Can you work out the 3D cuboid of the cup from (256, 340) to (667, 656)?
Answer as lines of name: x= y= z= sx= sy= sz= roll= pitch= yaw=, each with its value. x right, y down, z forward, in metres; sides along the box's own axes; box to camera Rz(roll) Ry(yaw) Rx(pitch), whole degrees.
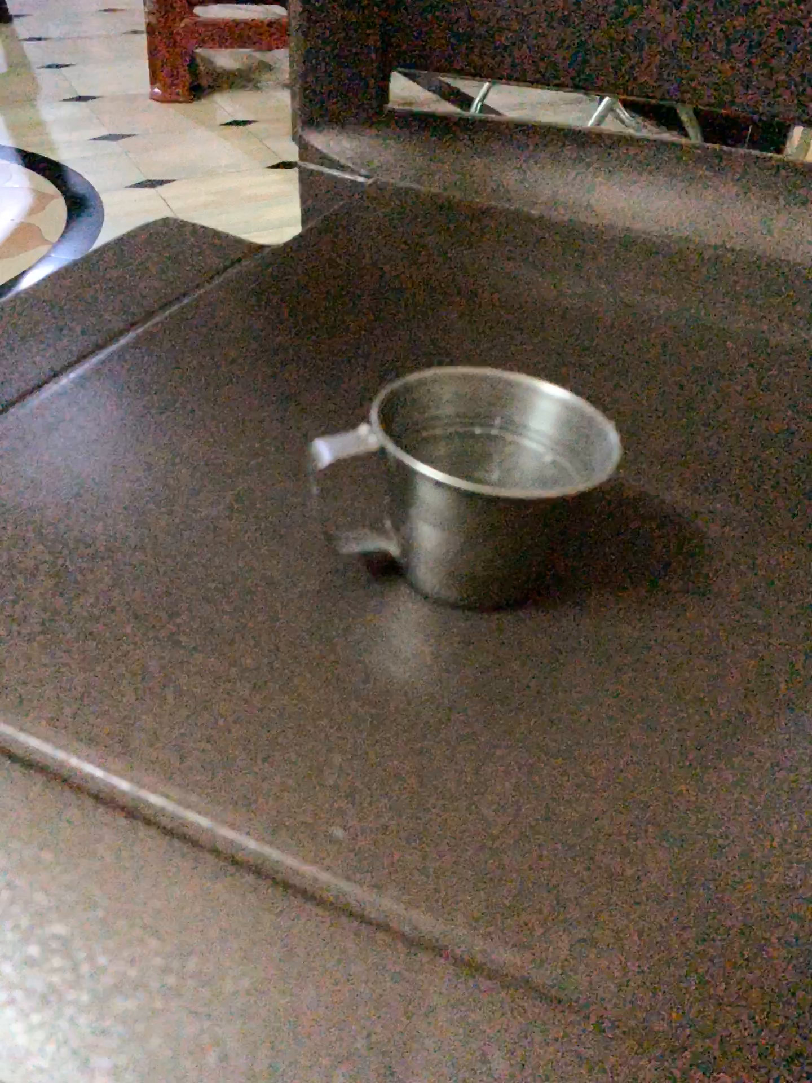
cup: x=0.008 y=-0.014 z=0.205 sx=0.080 sy=0.040 sz=0.060 roll=-8 pitch=44 yaw=-17
